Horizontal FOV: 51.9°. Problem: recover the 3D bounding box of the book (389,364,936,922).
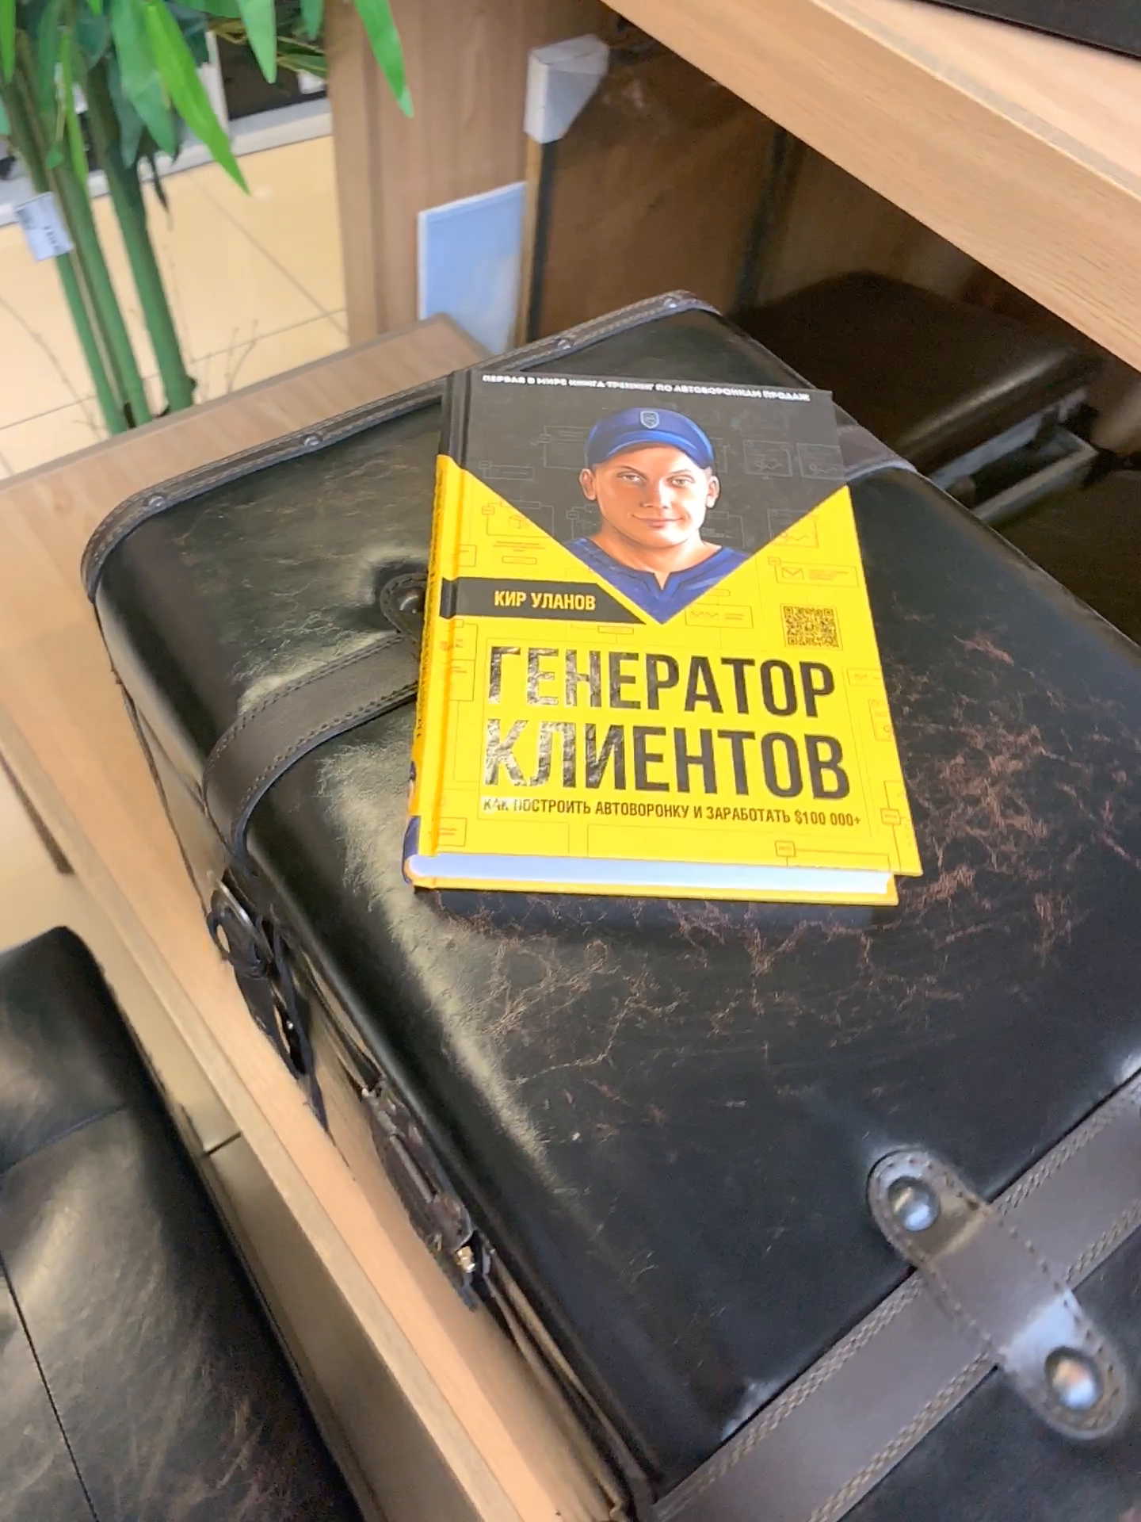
[{"bbox_3d":[0.028,-0.057,0.439,0.167,0.030,0.243,2,54,-3],"label":"book"}]
